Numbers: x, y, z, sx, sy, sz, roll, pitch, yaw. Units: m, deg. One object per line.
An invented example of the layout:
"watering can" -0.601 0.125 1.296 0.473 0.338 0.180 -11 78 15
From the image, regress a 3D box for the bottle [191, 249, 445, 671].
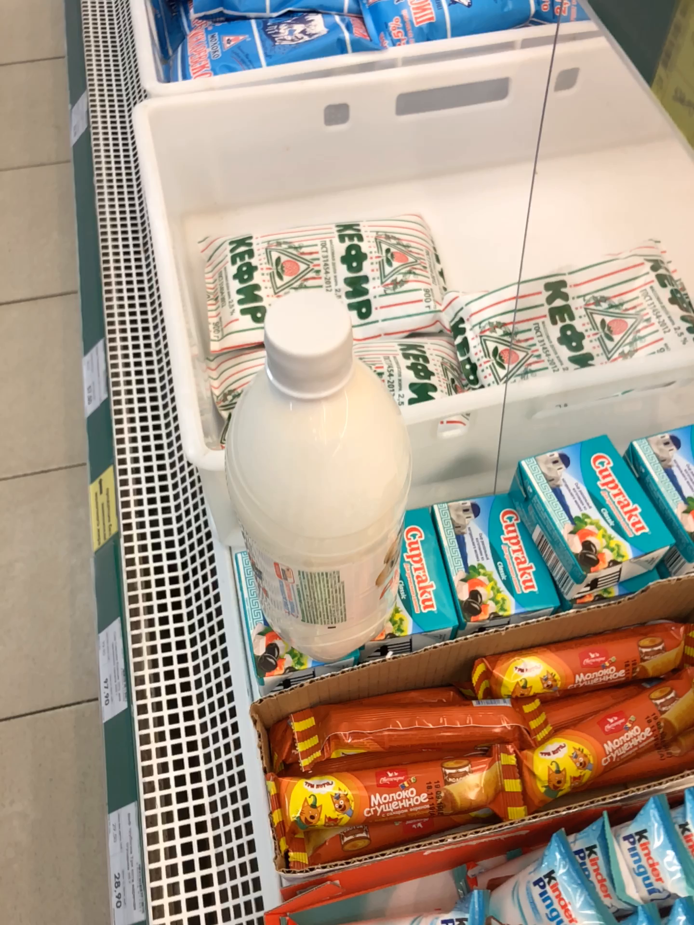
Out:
"bottle" -0.011 0.022 0.366 0.079 0.250 0.077 0 59 0
